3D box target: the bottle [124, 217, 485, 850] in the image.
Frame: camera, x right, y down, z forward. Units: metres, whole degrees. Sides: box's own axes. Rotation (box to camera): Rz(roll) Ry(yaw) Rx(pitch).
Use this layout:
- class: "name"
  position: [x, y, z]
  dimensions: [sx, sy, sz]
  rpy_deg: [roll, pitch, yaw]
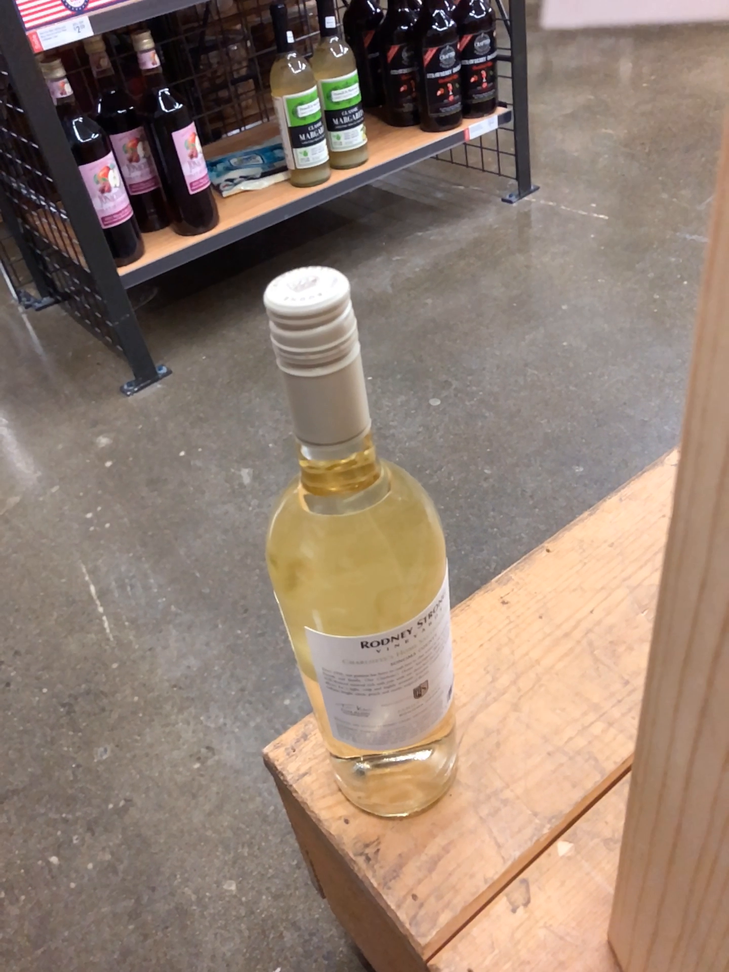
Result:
- class: "bottle"
  position: [-0.009, 0.041, 0.352]
  dimensions: [0.073, 0.283, 0.079]
  rpy_deg: [-7, 40, 6]
